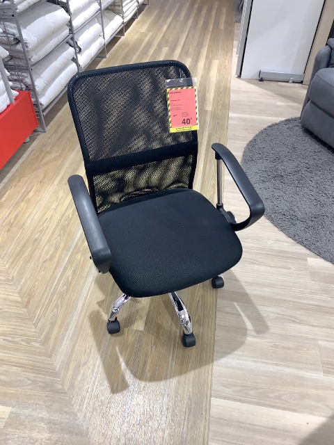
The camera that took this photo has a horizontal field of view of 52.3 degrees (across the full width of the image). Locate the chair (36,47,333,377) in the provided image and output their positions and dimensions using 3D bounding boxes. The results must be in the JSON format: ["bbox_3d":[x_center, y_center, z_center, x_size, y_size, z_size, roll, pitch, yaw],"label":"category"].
[{"bbox_3d":[0.007,-0.031,1.204,0.641,0.866,0.603,-14,46,-16],"label":"chair"}]
